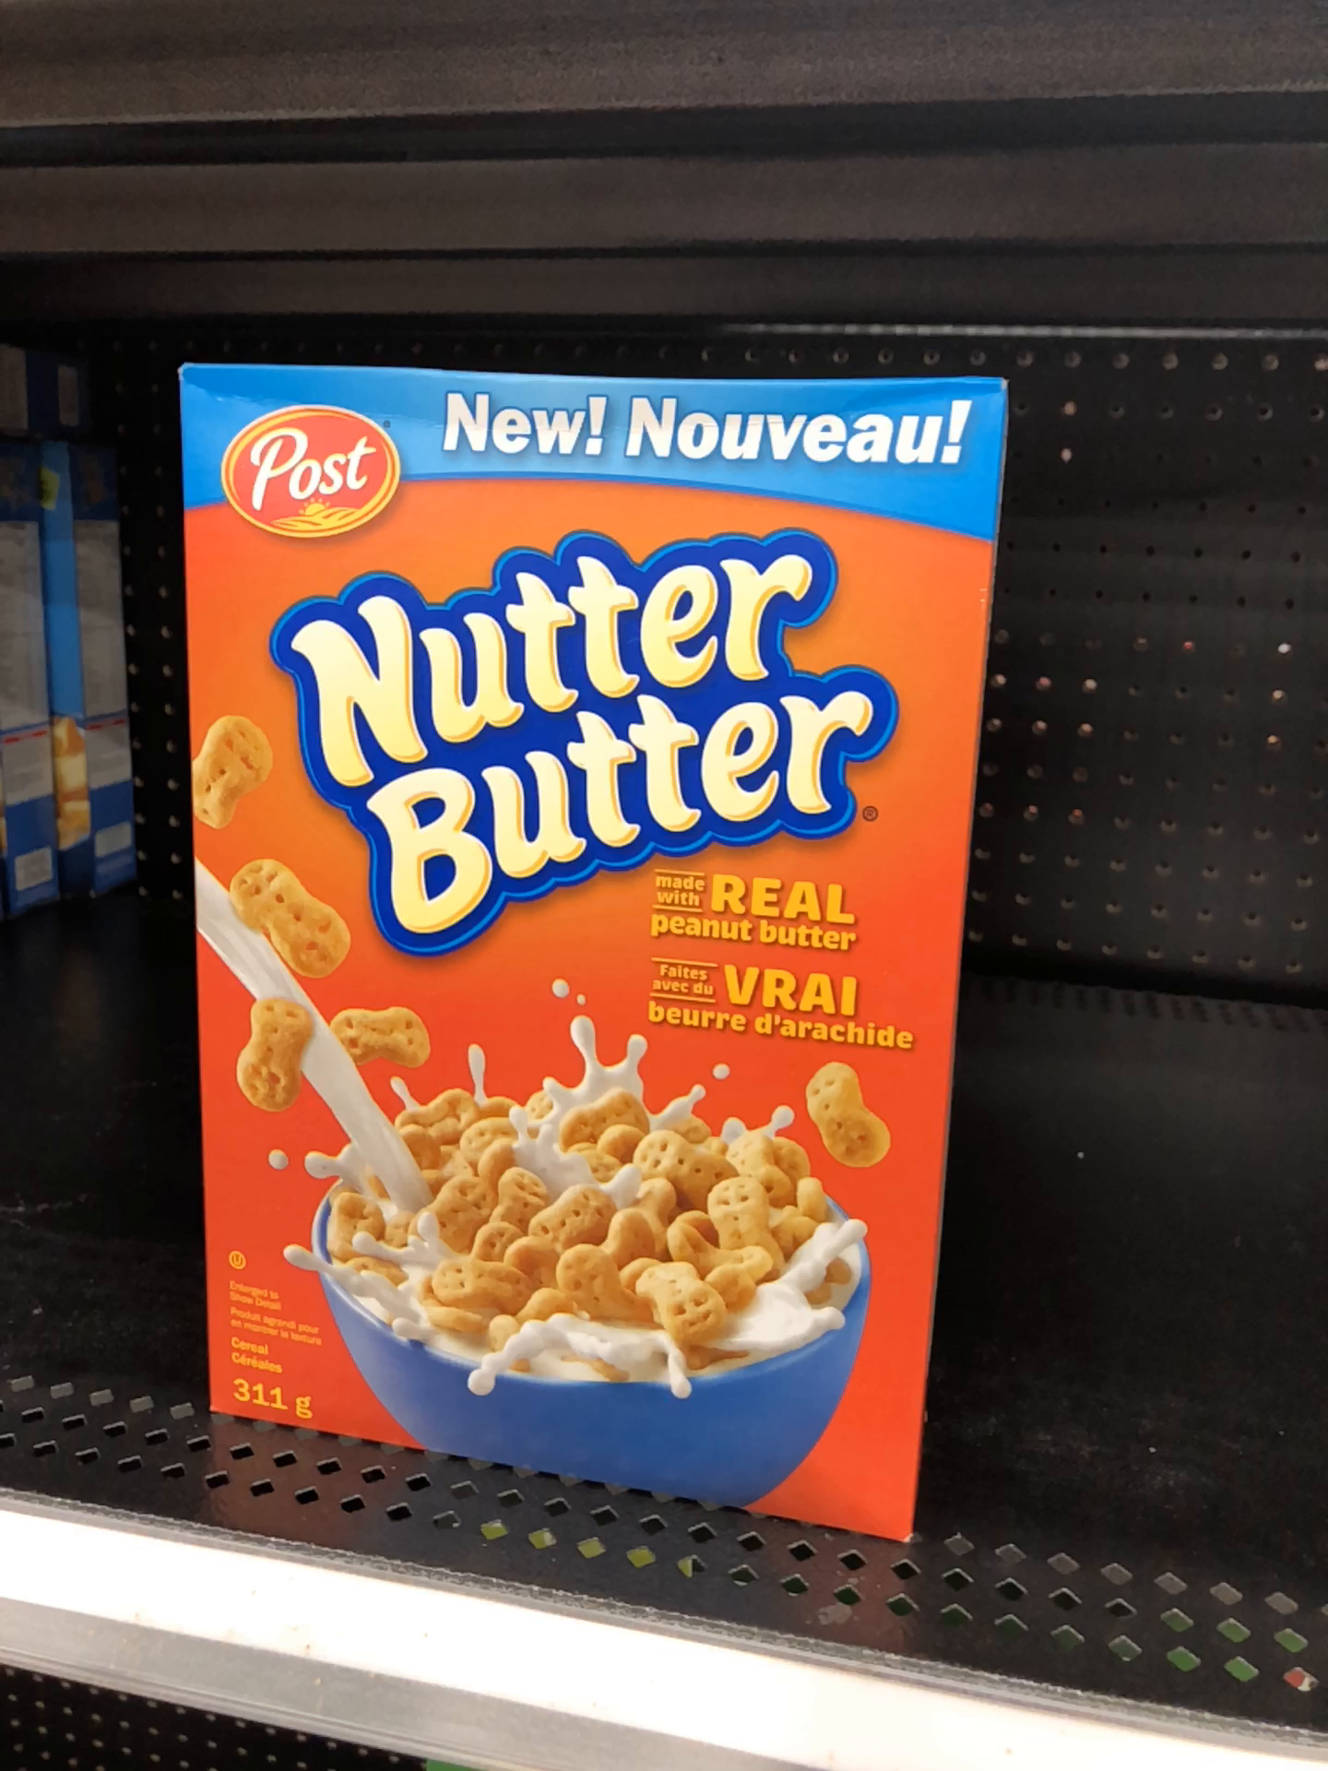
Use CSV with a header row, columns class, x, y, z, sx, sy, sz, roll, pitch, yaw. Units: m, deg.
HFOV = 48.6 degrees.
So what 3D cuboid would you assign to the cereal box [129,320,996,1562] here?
class,x,y,z,sx,sy,sz,roll,pitch,yaw
cereal box,-0.026,0.010,0.369,0.190,0.279,0.060,5,13,13
